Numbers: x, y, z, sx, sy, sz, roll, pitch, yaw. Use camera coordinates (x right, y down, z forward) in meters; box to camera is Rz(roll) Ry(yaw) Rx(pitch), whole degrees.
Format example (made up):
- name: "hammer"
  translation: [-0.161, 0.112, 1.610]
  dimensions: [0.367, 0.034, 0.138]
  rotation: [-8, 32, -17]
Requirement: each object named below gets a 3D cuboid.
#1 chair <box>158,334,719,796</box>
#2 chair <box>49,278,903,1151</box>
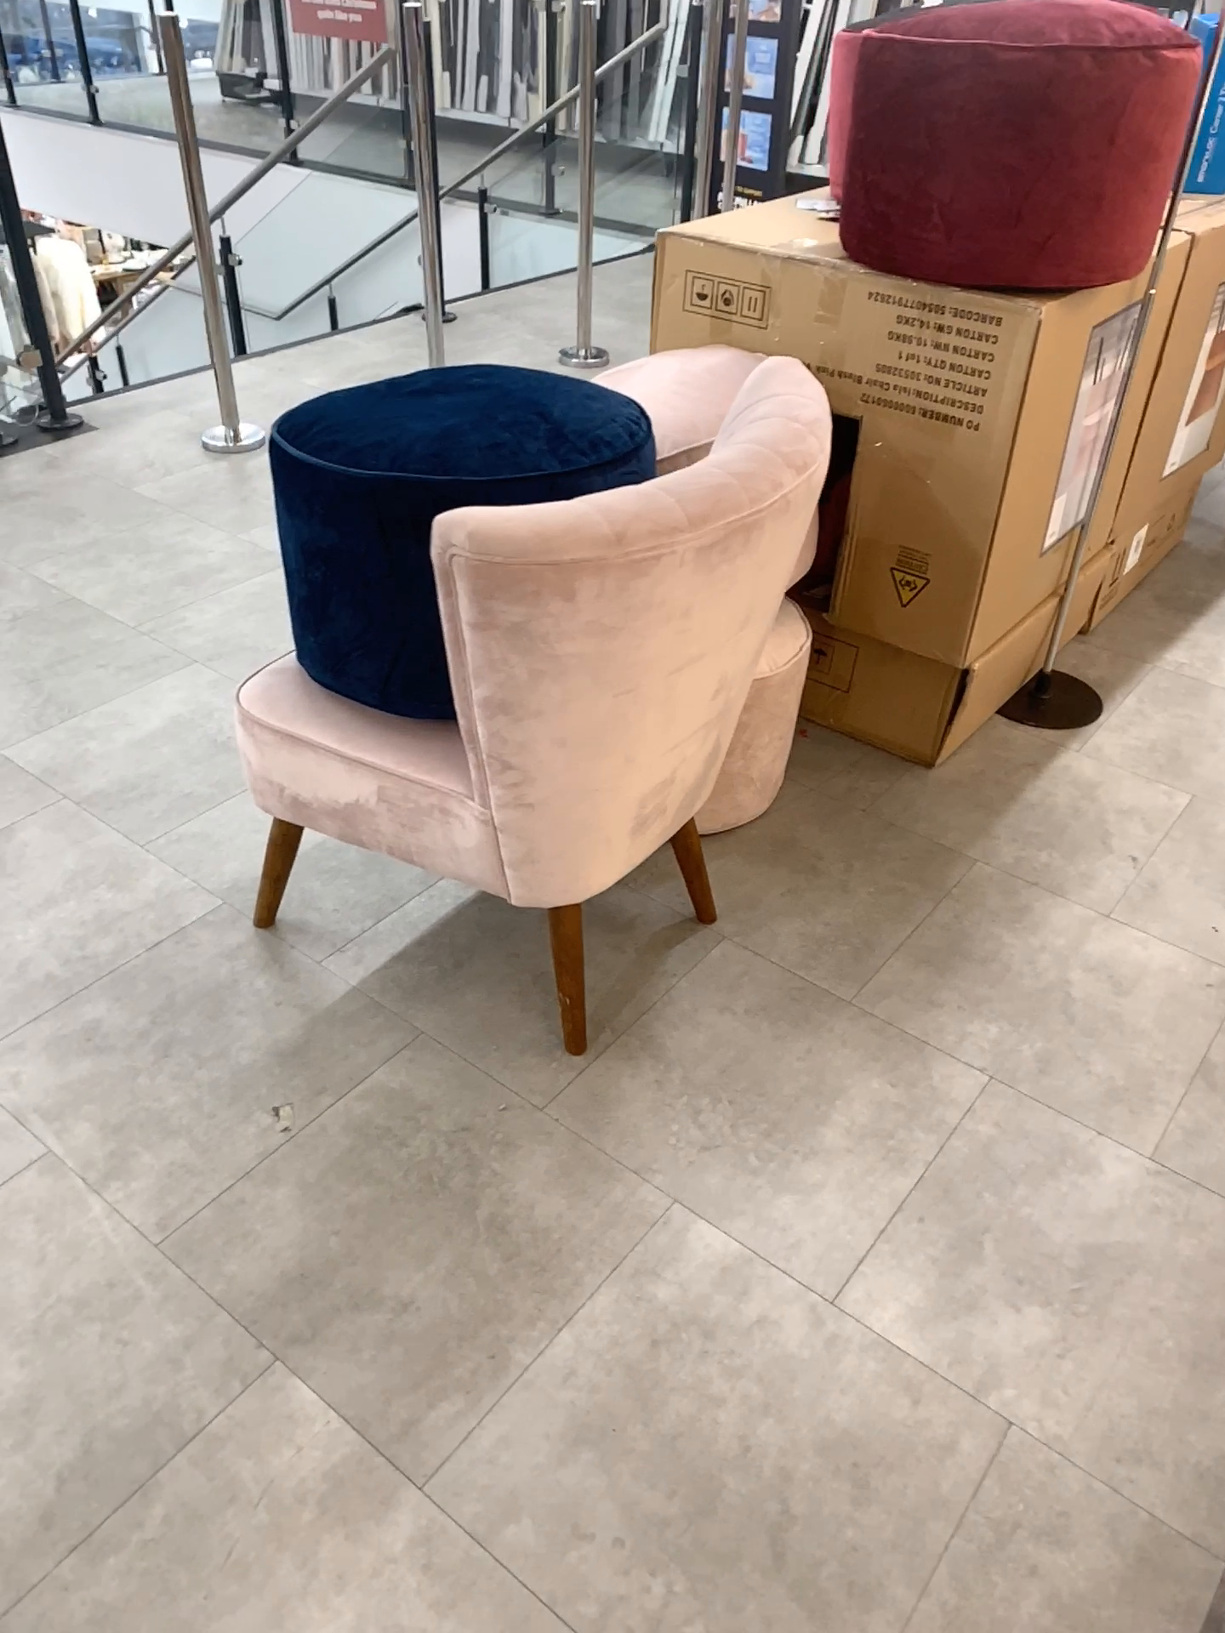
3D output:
- name: "chair"
  translation: [-0.213, -0.370, 1.658]
  dimensions: [0.495, 0.340, 0.497]
  rotation: [26, 42, 29]
- name: "chair"
  translation: [-0.156, -0.203, 1.698]
  dimensions: [0.733, 0.772, 0.694]
  rotation: [26, 42, 29]
